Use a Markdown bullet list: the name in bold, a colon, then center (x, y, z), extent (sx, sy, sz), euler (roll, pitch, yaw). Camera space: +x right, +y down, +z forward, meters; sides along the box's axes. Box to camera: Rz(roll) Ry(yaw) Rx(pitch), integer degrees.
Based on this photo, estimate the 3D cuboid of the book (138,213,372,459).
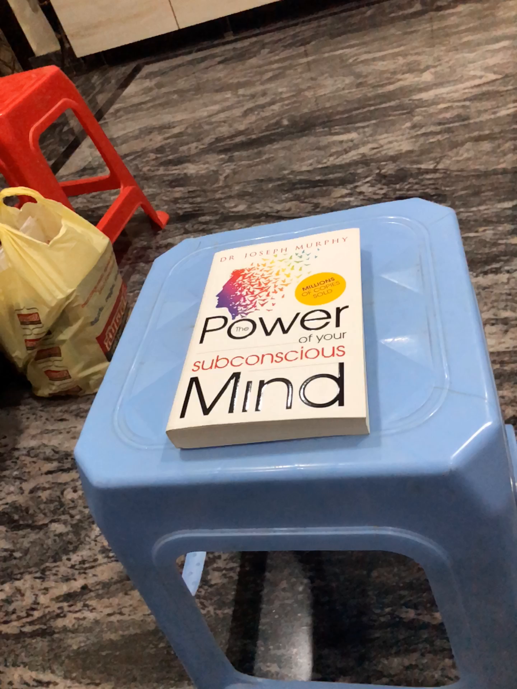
- **book**: center (0.006, -0.015, 0.416), extent (0.140, 0.030, 0.201), euler (-8, 44, 15)
